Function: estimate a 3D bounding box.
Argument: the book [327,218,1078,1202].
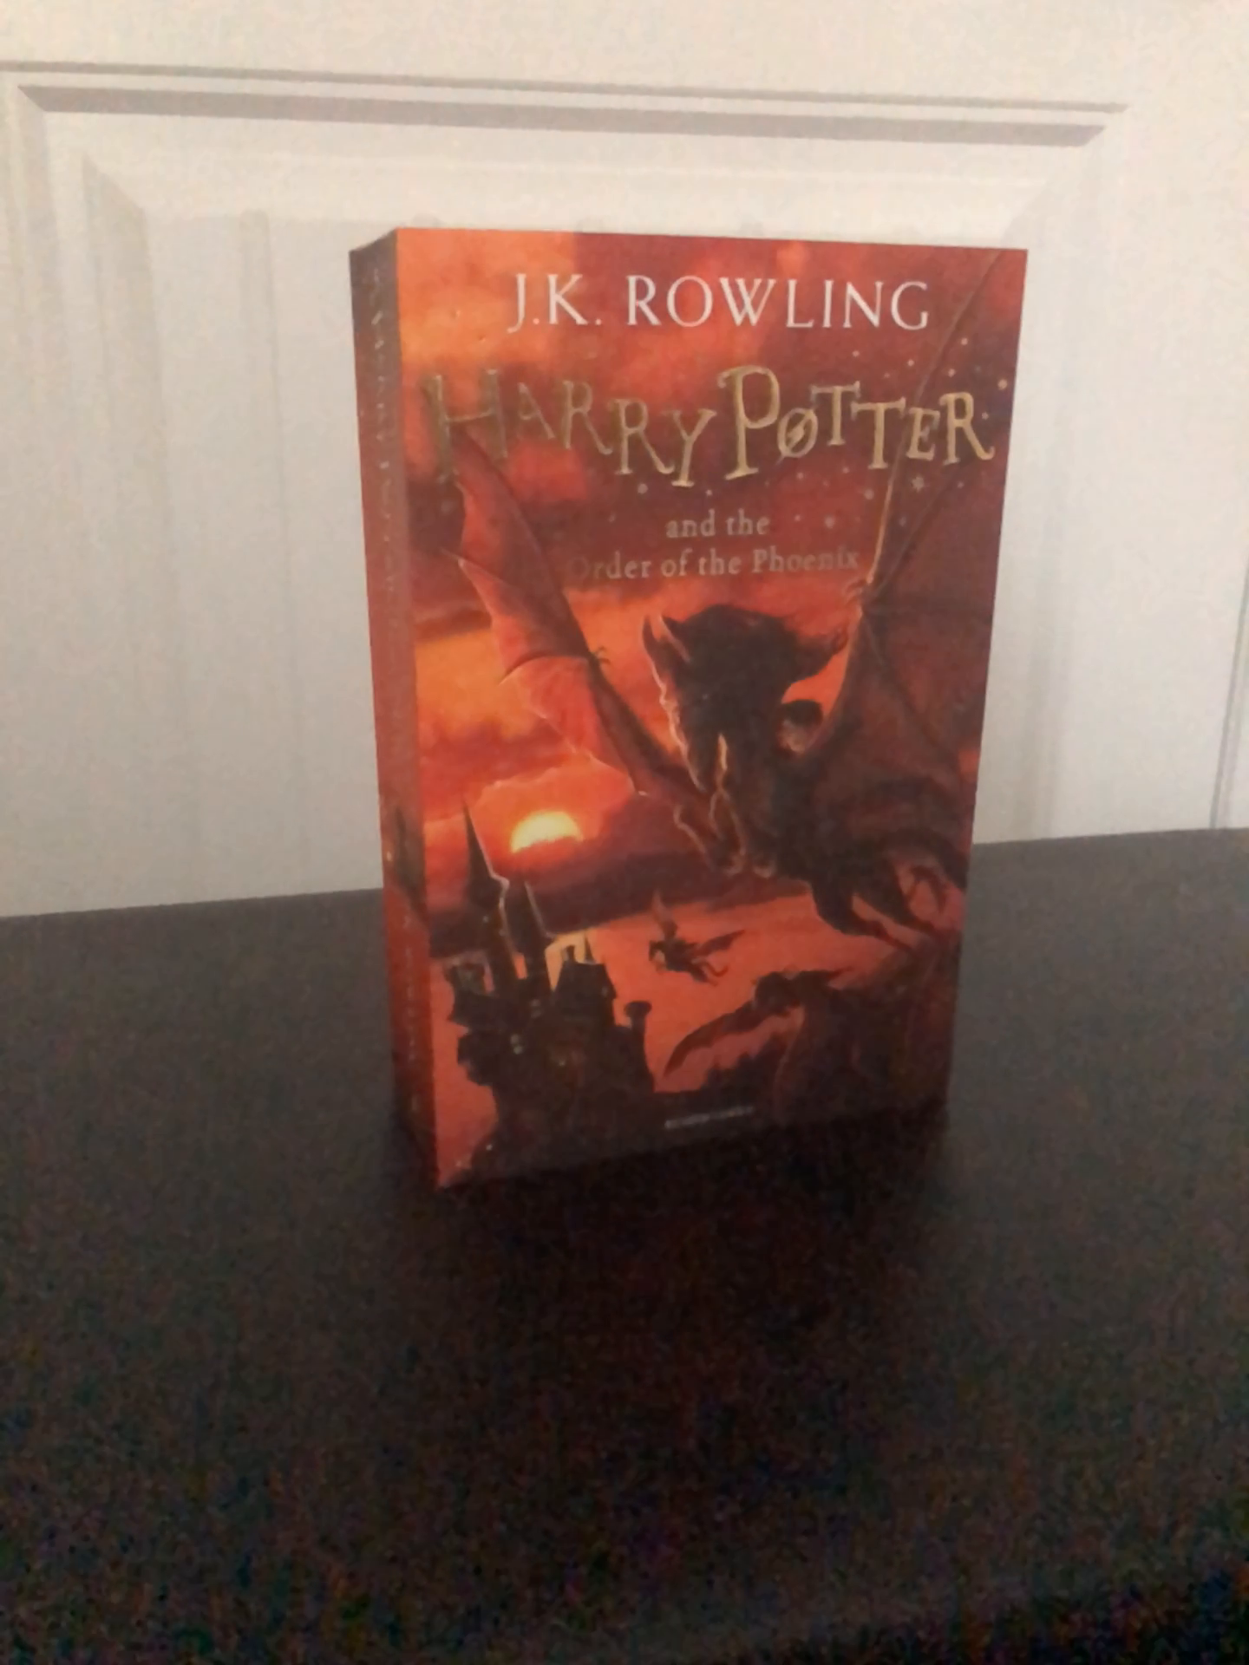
[{"bbox_3d":[0.014,-0.029,0.312,0.141,0.189,0.061,-6,19,-20],"label":"book"}]
